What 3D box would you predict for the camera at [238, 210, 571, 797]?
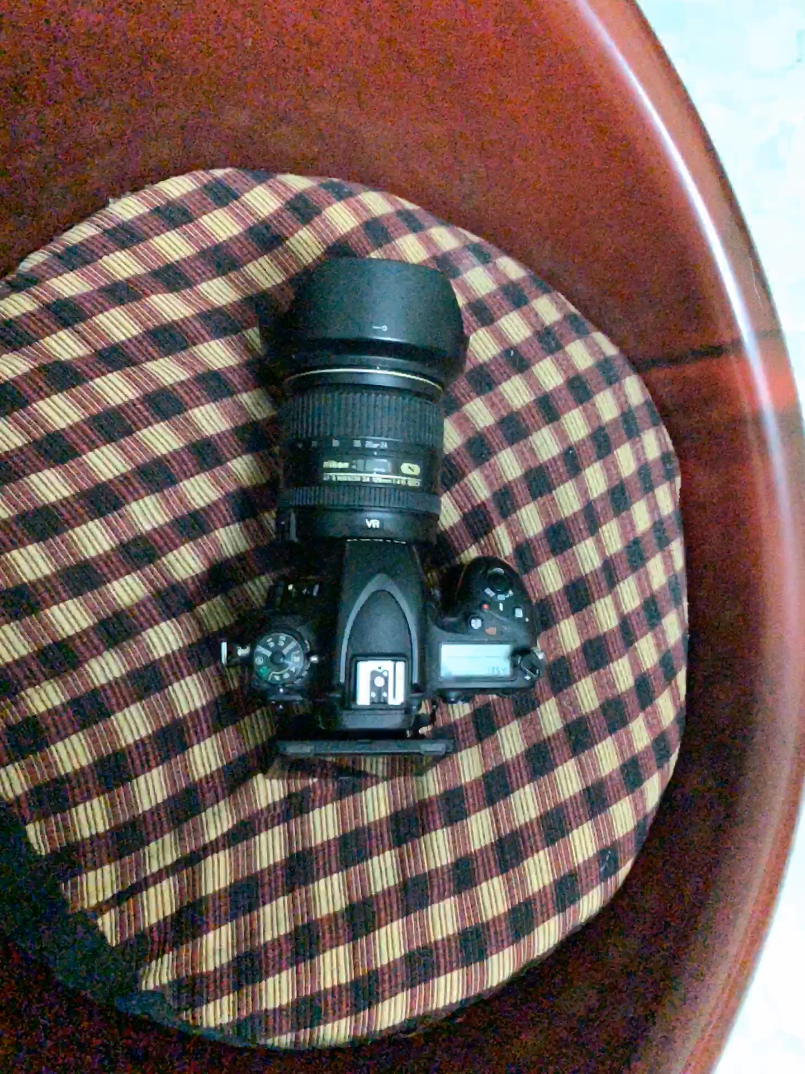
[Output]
[{"bbox_3d":[-0.004,-0.010,0.408,0.140,0.102,0.250,3,82,-11],"label":"camera"}]
